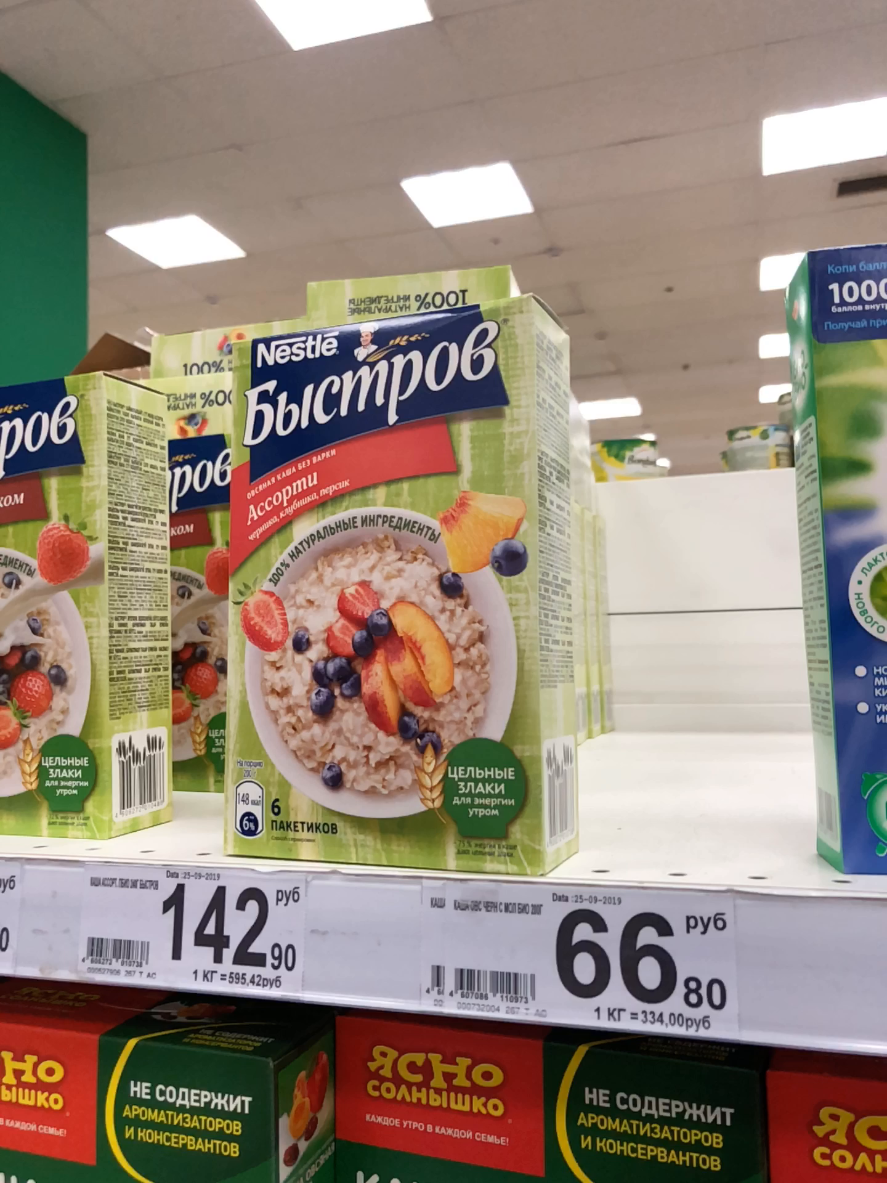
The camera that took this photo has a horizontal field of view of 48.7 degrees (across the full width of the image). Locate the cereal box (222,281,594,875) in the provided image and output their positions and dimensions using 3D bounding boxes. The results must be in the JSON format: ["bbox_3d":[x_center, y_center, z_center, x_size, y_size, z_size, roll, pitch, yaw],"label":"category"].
[{"bbox_3d":[-0.015,-0.003,0.377,0.130,0.200,0.050,-3,-7,24],"label":"cereal box"}]
